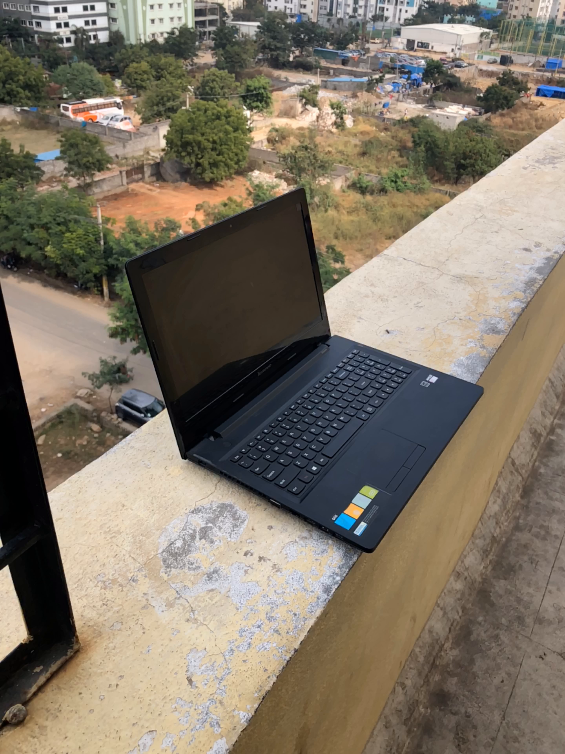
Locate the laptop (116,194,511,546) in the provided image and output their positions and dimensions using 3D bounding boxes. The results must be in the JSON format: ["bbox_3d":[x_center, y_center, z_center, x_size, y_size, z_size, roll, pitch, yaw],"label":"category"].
[{"bbox_3d":[0.052,-0.049,0.798,0.330,0.229,0.368,21,37,25],"label":"laptop"}]
